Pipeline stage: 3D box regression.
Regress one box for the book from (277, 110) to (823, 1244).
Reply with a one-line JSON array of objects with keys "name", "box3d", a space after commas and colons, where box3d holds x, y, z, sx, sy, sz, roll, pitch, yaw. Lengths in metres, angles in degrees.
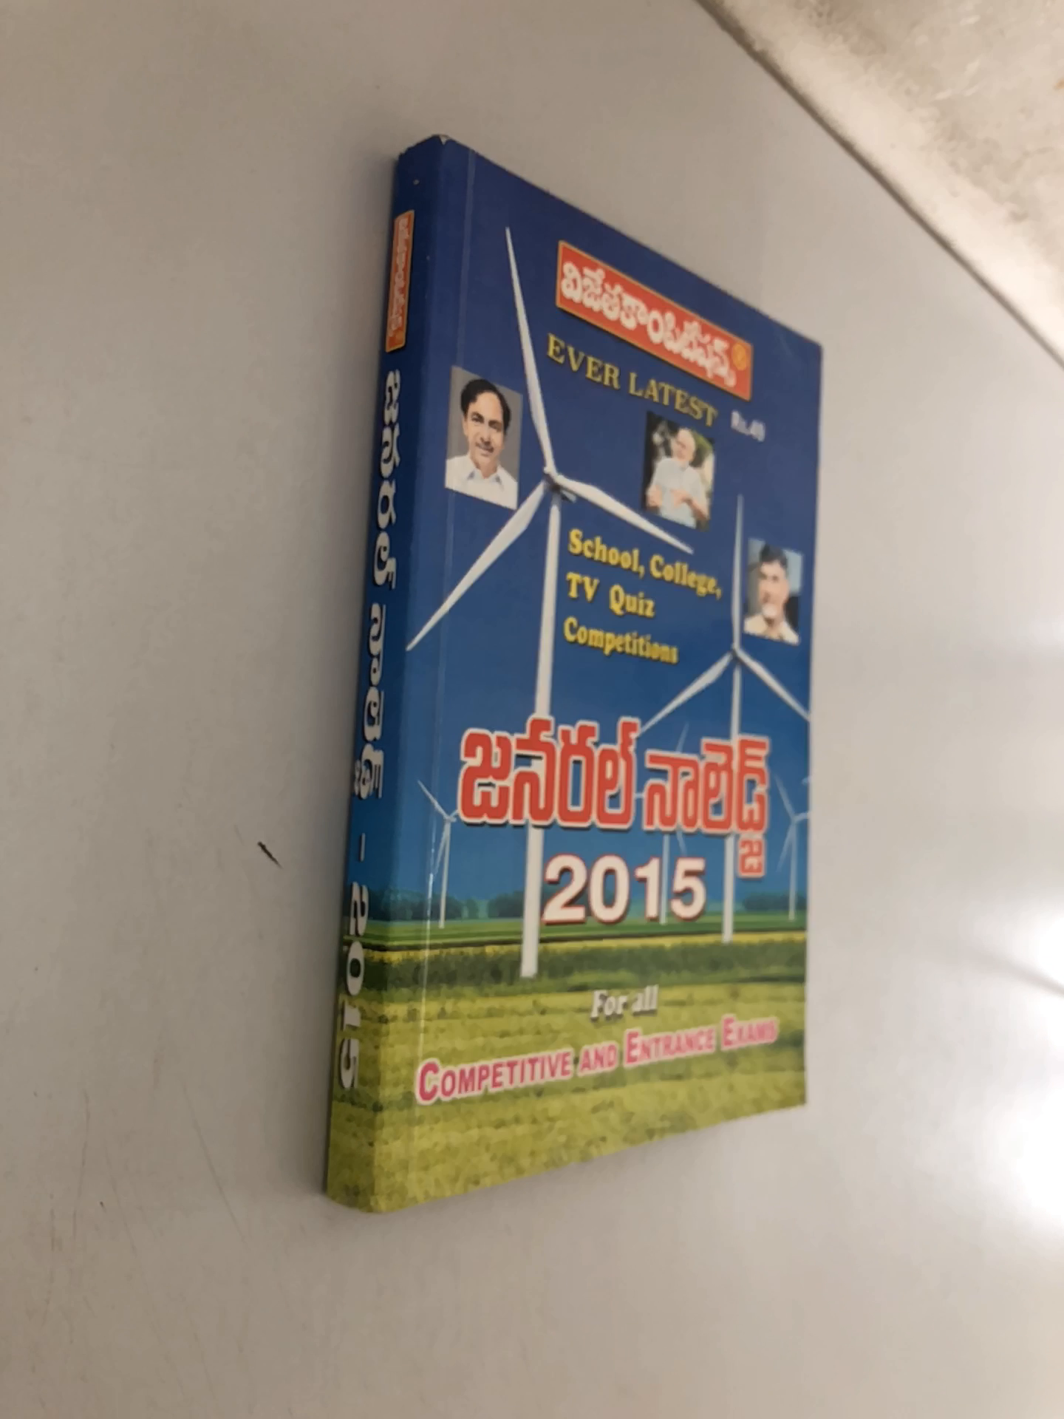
[{"name": "book", "box3d": [0.014, -0.003, 0.245, 0.130, 0.022, 0.182, 8, 82, -46]}]
